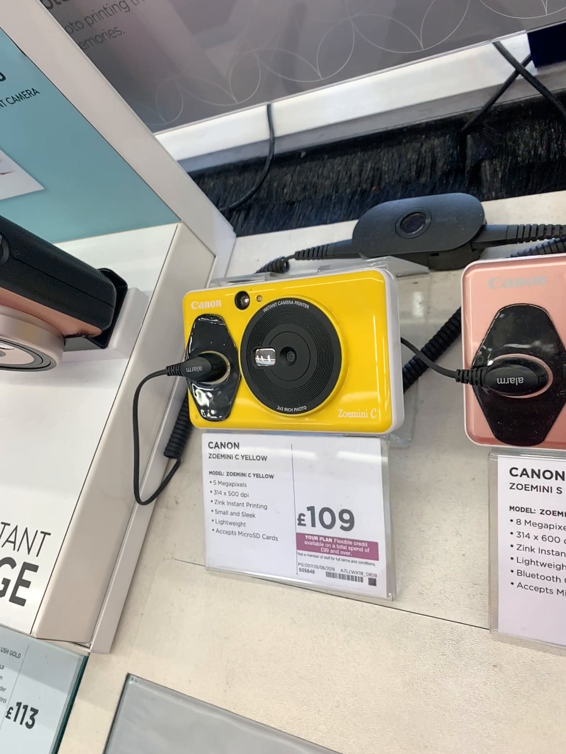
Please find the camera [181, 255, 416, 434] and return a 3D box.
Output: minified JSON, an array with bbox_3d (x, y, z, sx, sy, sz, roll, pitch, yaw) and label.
[{"bbox_3d":[0.004,-0.014,0.300,0.120,0.020,0.080,-2,94,30],"label":"camera"}]
